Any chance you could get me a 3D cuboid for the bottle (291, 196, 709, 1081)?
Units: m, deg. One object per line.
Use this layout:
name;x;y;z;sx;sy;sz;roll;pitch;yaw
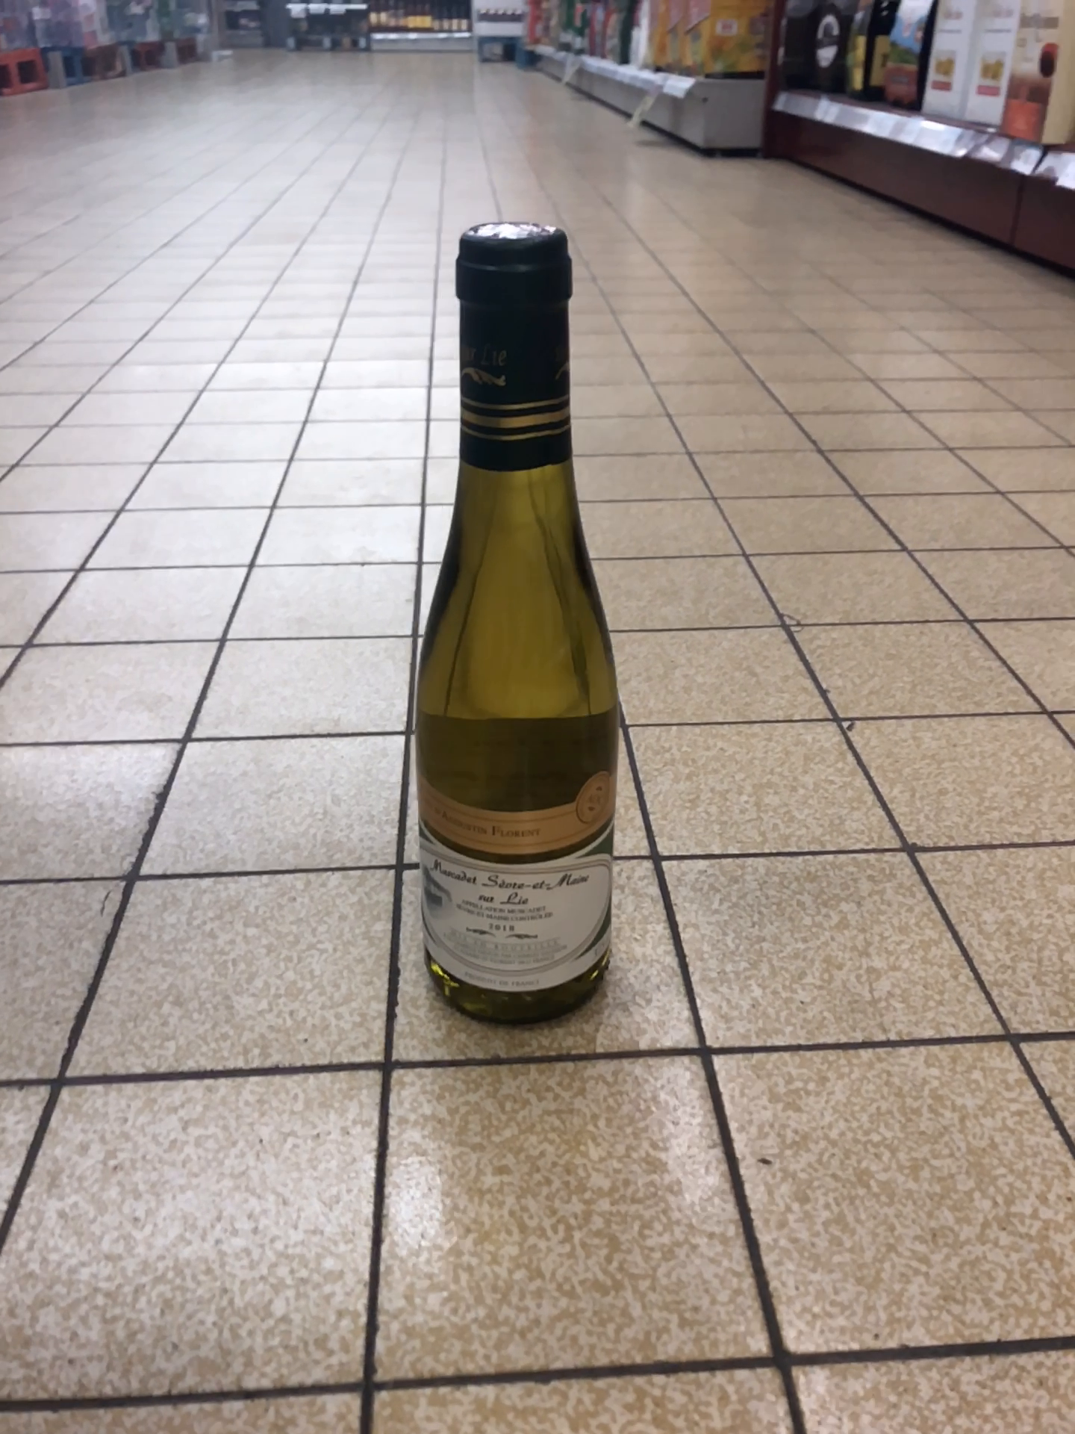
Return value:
bottle;-0.005;-0.018;0.348;0.080;0.239;0.081;0;29;0
